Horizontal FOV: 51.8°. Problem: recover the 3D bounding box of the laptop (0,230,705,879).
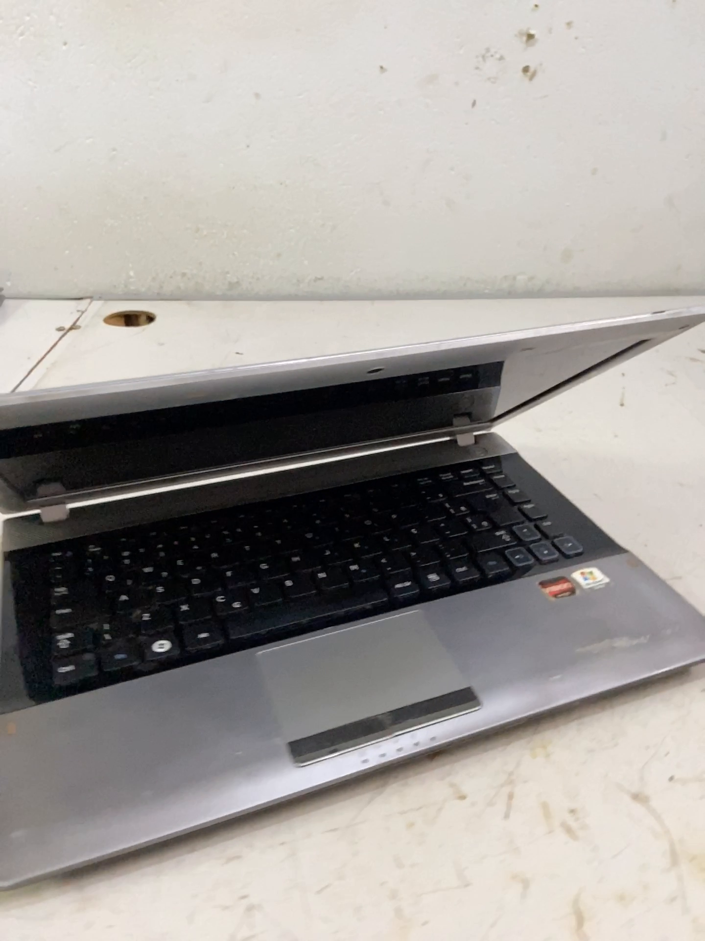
[{"bbox_3d":[-0.008,-0.007,0.370,0.345,0.150,0.234,-10,33,-19],"label":"laptop"}]
